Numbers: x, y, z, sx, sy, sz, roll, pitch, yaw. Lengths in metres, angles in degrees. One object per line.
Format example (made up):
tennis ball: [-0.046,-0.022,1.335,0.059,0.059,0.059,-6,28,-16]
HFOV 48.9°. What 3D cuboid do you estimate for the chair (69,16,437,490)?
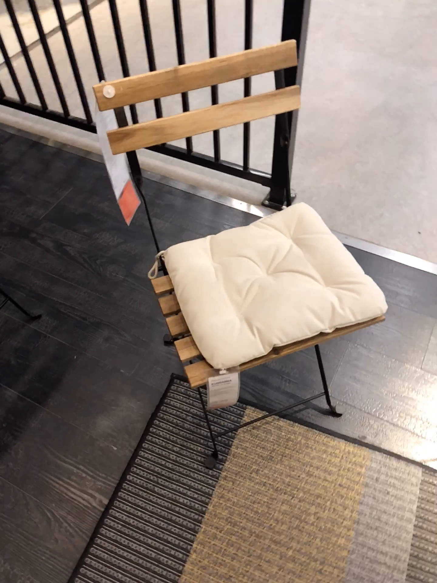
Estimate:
chair: [0.068,-0.019,0.973,0.450,0.758,0.461,-18,53,-11]
